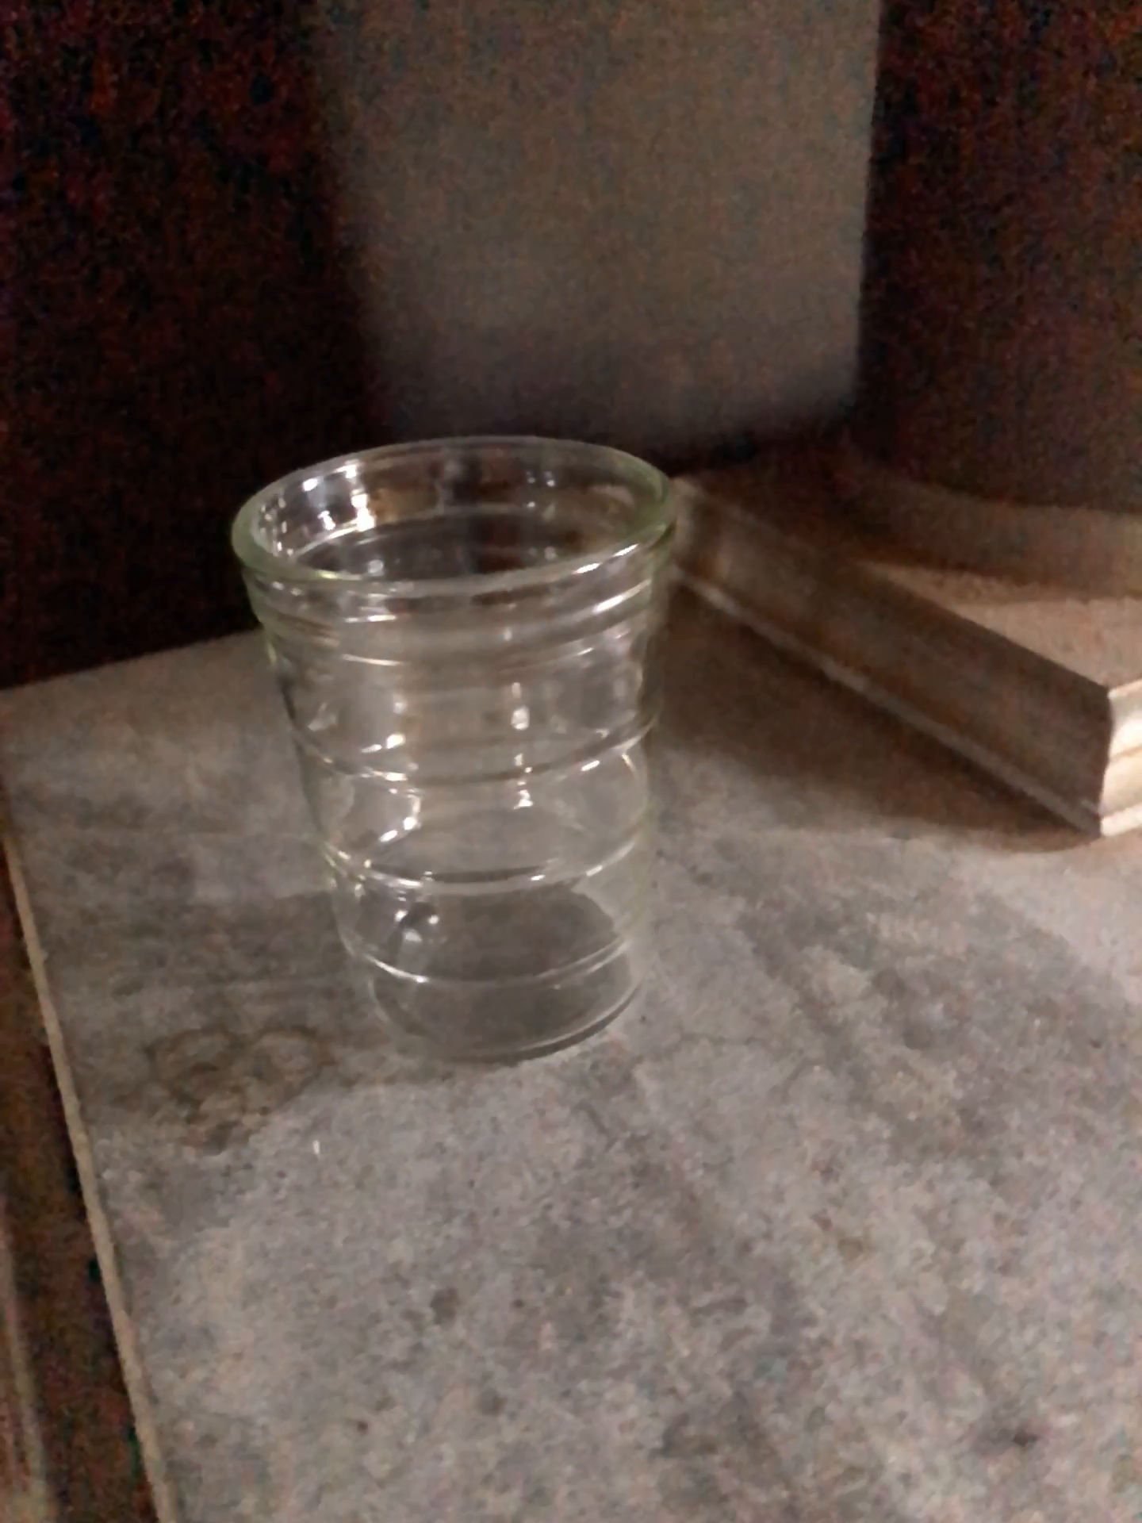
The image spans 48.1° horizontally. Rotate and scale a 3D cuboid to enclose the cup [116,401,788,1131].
[{"bbox_3d":[-0.014,-0.006,0.208,0.070,0.080,0.070,-3,30,2],"label":"cup"}]
